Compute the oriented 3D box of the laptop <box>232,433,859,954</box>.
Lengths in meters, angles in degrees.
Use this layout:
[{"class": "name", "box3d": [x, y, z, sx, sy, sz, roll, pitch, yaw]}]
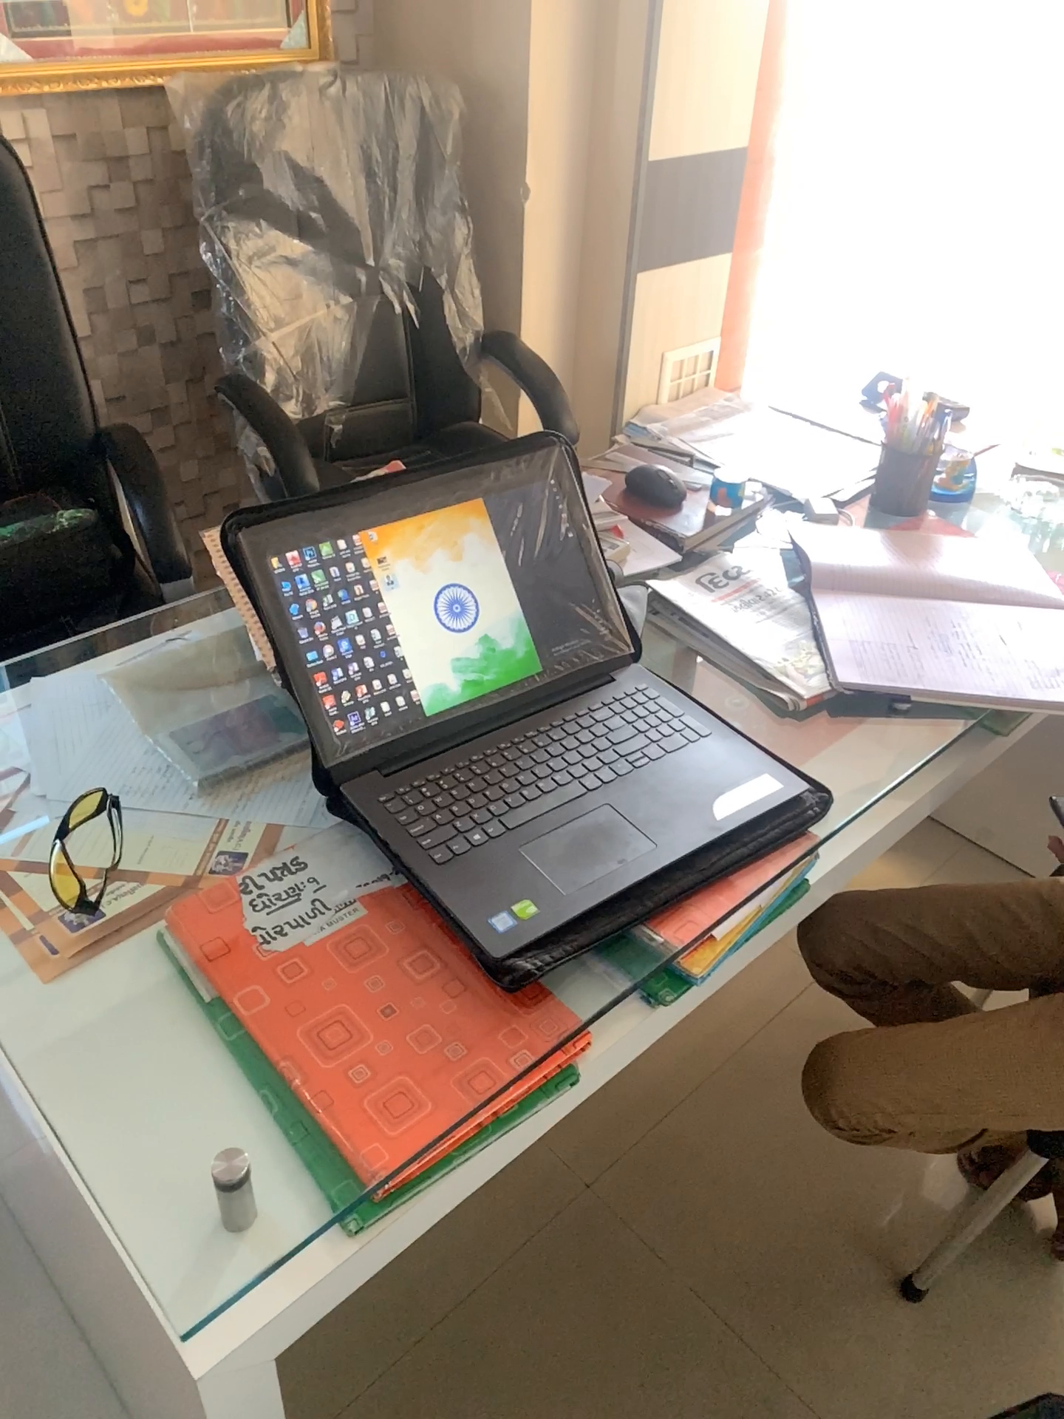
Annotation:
[{"class": "laptop", "box3d": [-0.005, -0.050, 0.925, 0.334, 0.175, 0.391, -22, 43, -29]}]
